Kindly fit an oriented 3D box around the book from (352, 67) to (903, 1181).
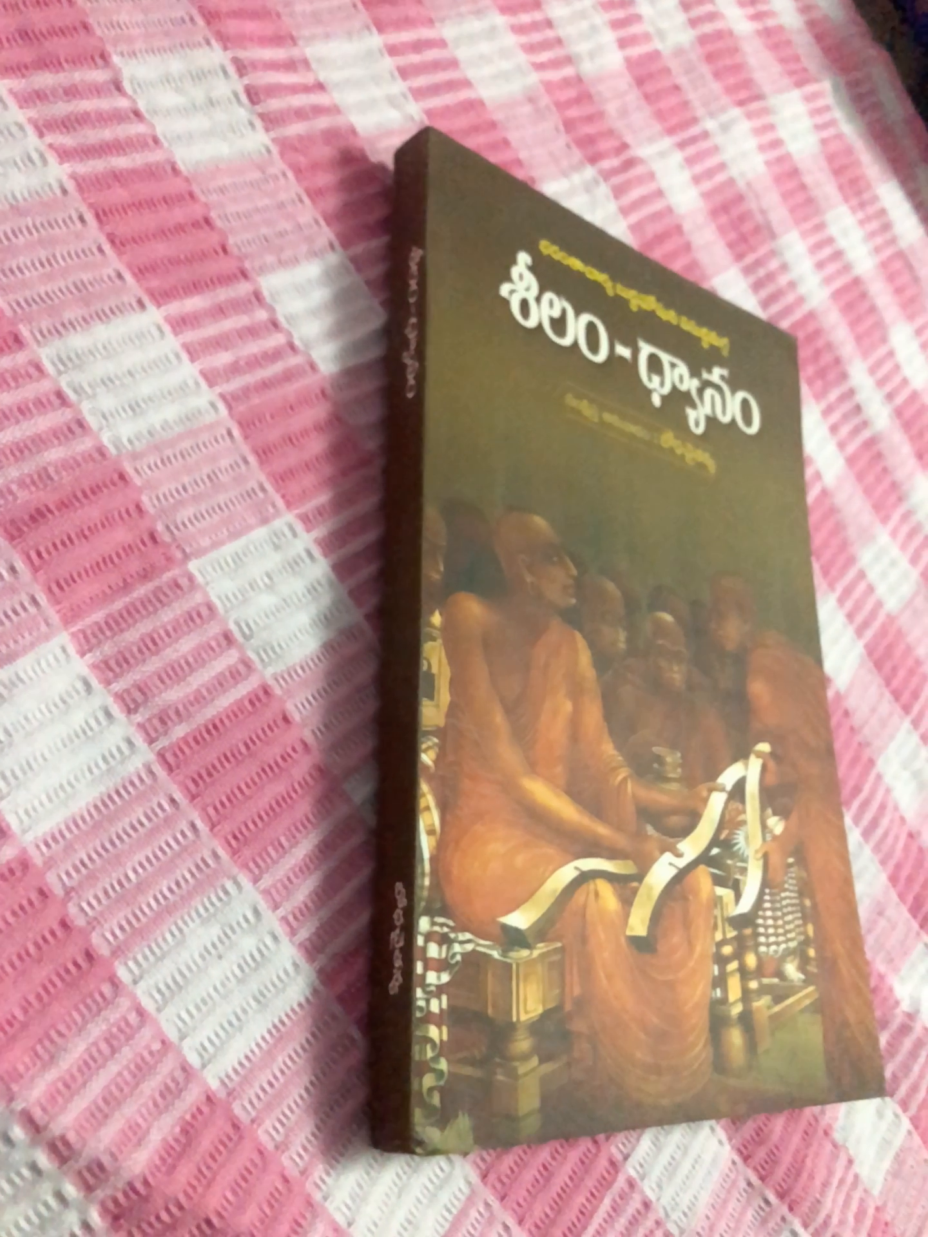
[{"bbox_3d":[0.044,0.001,0.238,0.141,0.020,0.210,15,68,-38],"label":"book"}]
